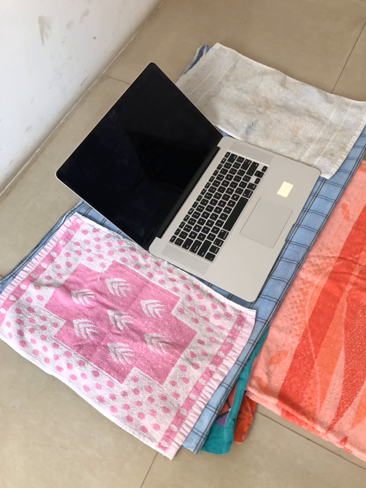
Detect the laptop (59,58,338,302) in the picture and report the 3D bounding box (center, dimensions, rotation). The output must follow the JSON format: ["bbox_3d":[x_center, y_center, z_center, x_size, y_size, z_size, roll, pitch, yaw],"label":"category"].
[{"bbox_3d":[0.033,-0.146,0.821,0.413,0.144,0.344,26,69,16],"label":"laptop"}]
